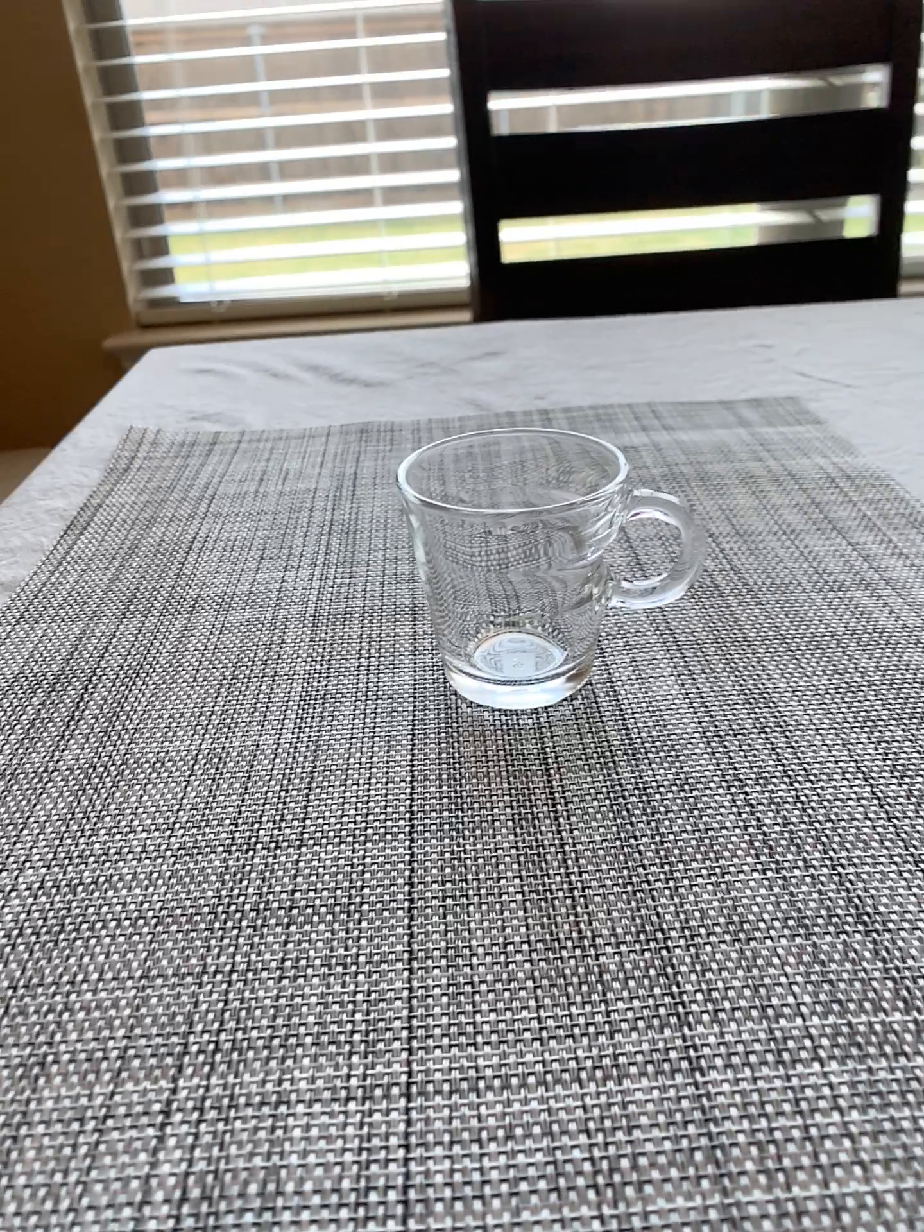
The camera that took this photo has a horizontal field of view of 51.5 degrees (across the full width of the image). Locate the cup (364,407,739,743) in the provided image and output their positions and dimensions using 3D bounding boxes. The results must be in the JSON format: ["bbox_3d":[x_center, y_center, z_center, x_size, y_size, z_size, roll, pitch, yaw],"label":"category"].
[{"bbox_3d":[0.022,-0.012,0.250,0.083,0.060,0.058,-6,29,2],"label":"cup"}]
